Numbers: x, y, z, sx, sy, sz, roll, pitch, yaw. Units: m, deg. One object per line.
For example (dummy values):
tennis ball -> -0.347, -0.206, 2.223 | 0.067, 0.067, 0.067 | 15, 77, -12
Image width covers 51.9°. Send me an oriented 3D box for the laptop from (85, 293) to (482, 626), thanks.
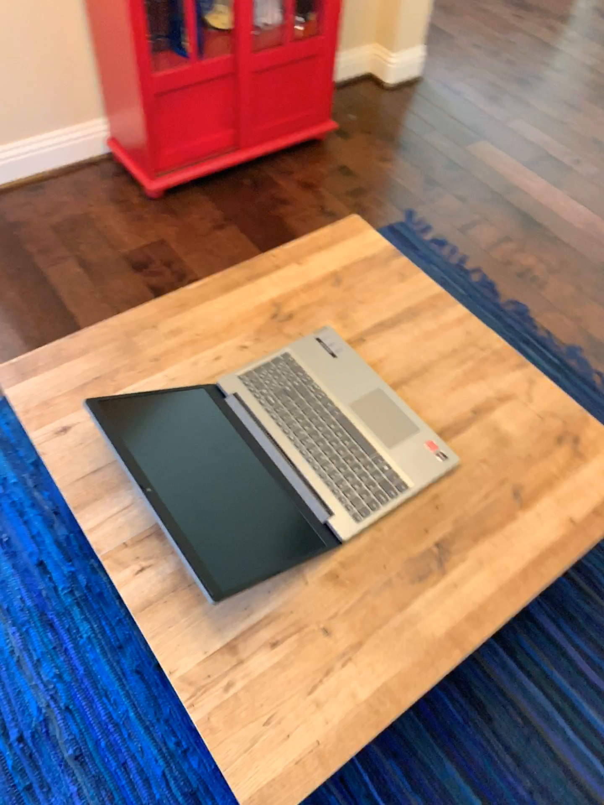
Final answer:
laptop -> -0.022, 0.050, 0.940 | 0.461, 0.099, 0.346 | -27, 61, -26
